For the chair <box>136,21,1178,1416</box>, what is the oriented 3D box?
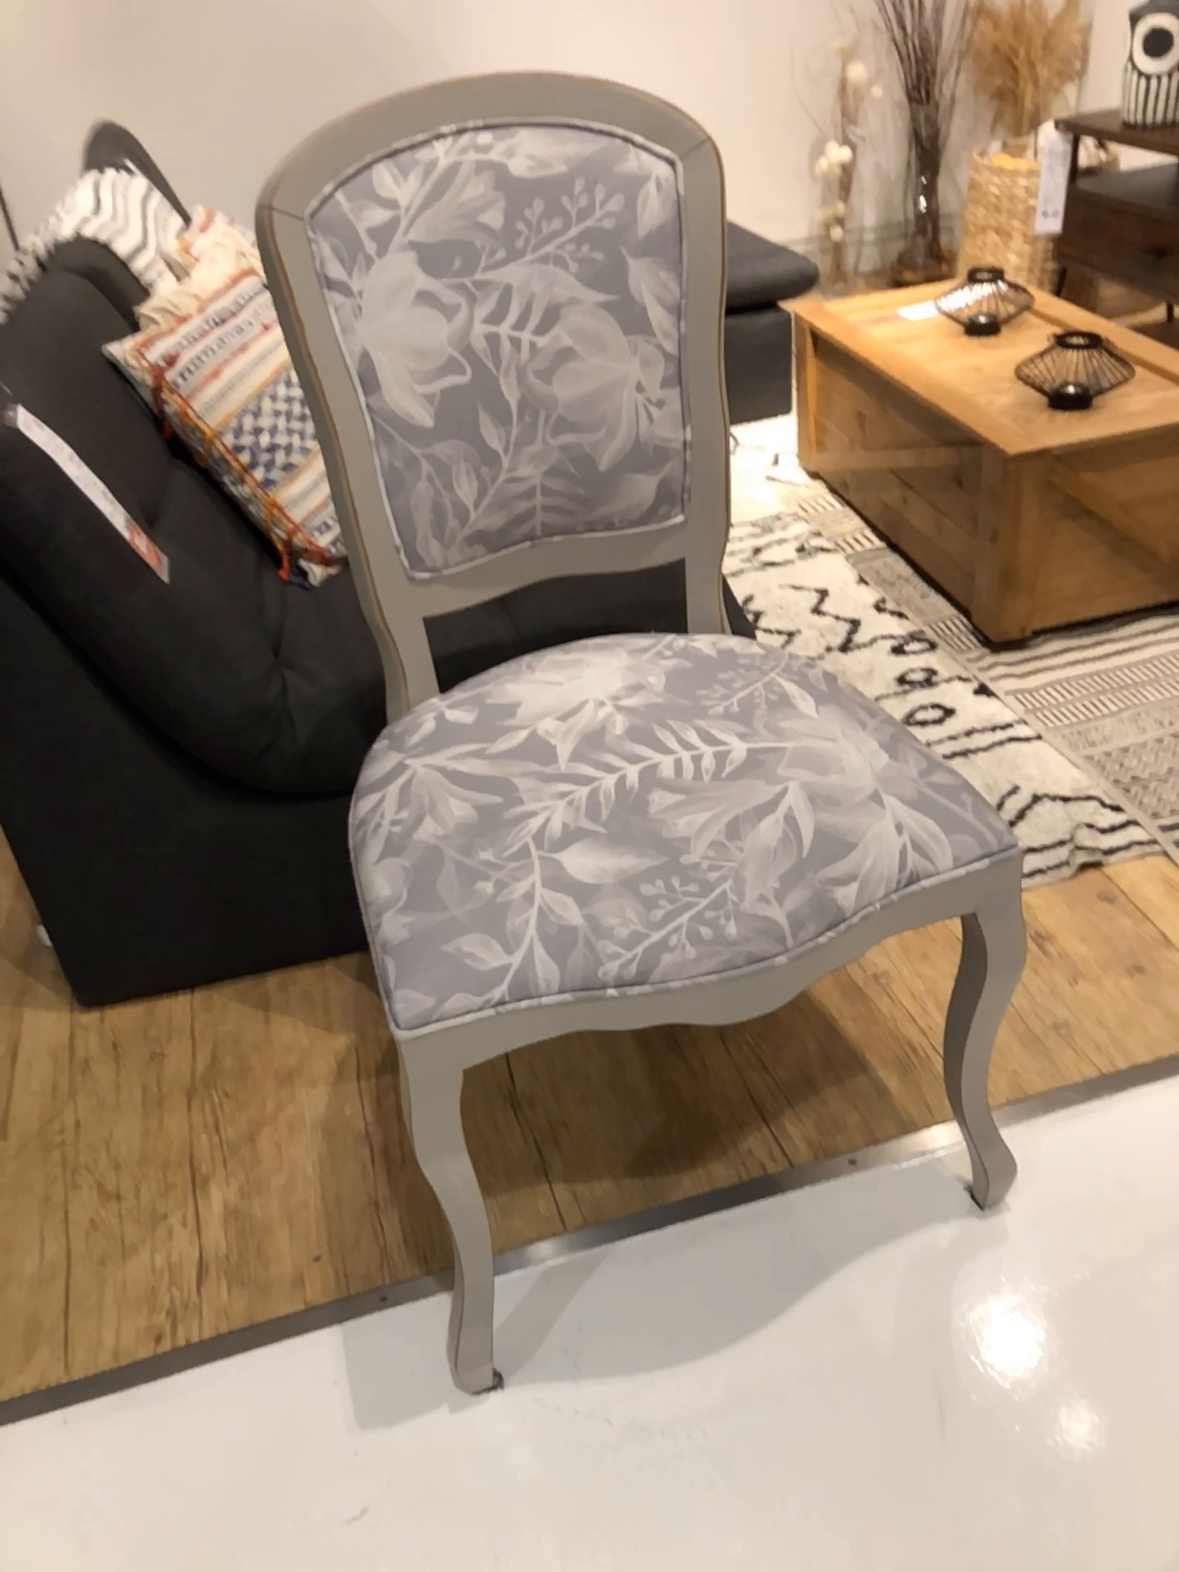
[{"bbox_3d":[0.044,-0.058,1.105,0.570,0.943,0.534,-14,35,-10],"label":"chair"}]
